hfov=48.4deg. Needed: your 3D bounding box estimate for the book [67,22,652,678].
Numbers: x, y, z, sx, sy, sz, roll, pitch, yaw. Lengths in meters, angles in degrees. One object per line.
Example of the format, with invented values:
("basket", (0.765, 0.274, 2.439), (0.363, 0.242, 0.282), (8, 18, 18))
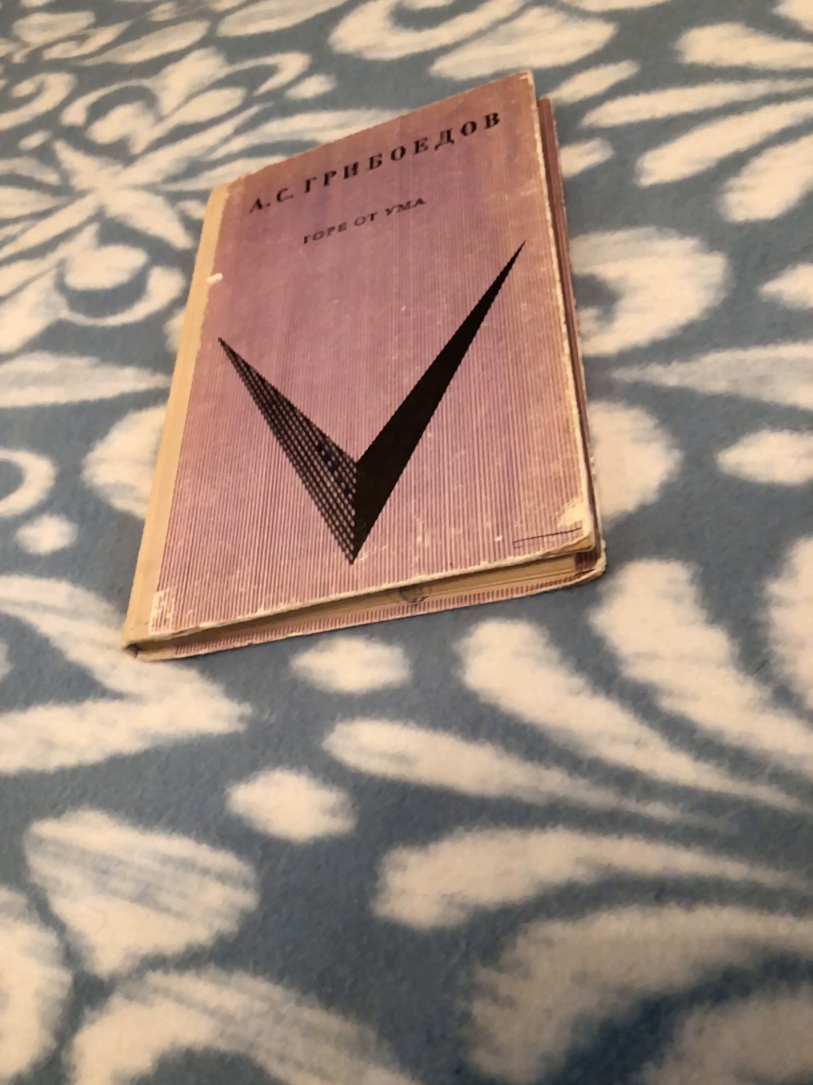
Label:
("book", (-0.017, -0.072, 0.293), (0.158, 0.020, 0.218), (-12, 55, 19))
